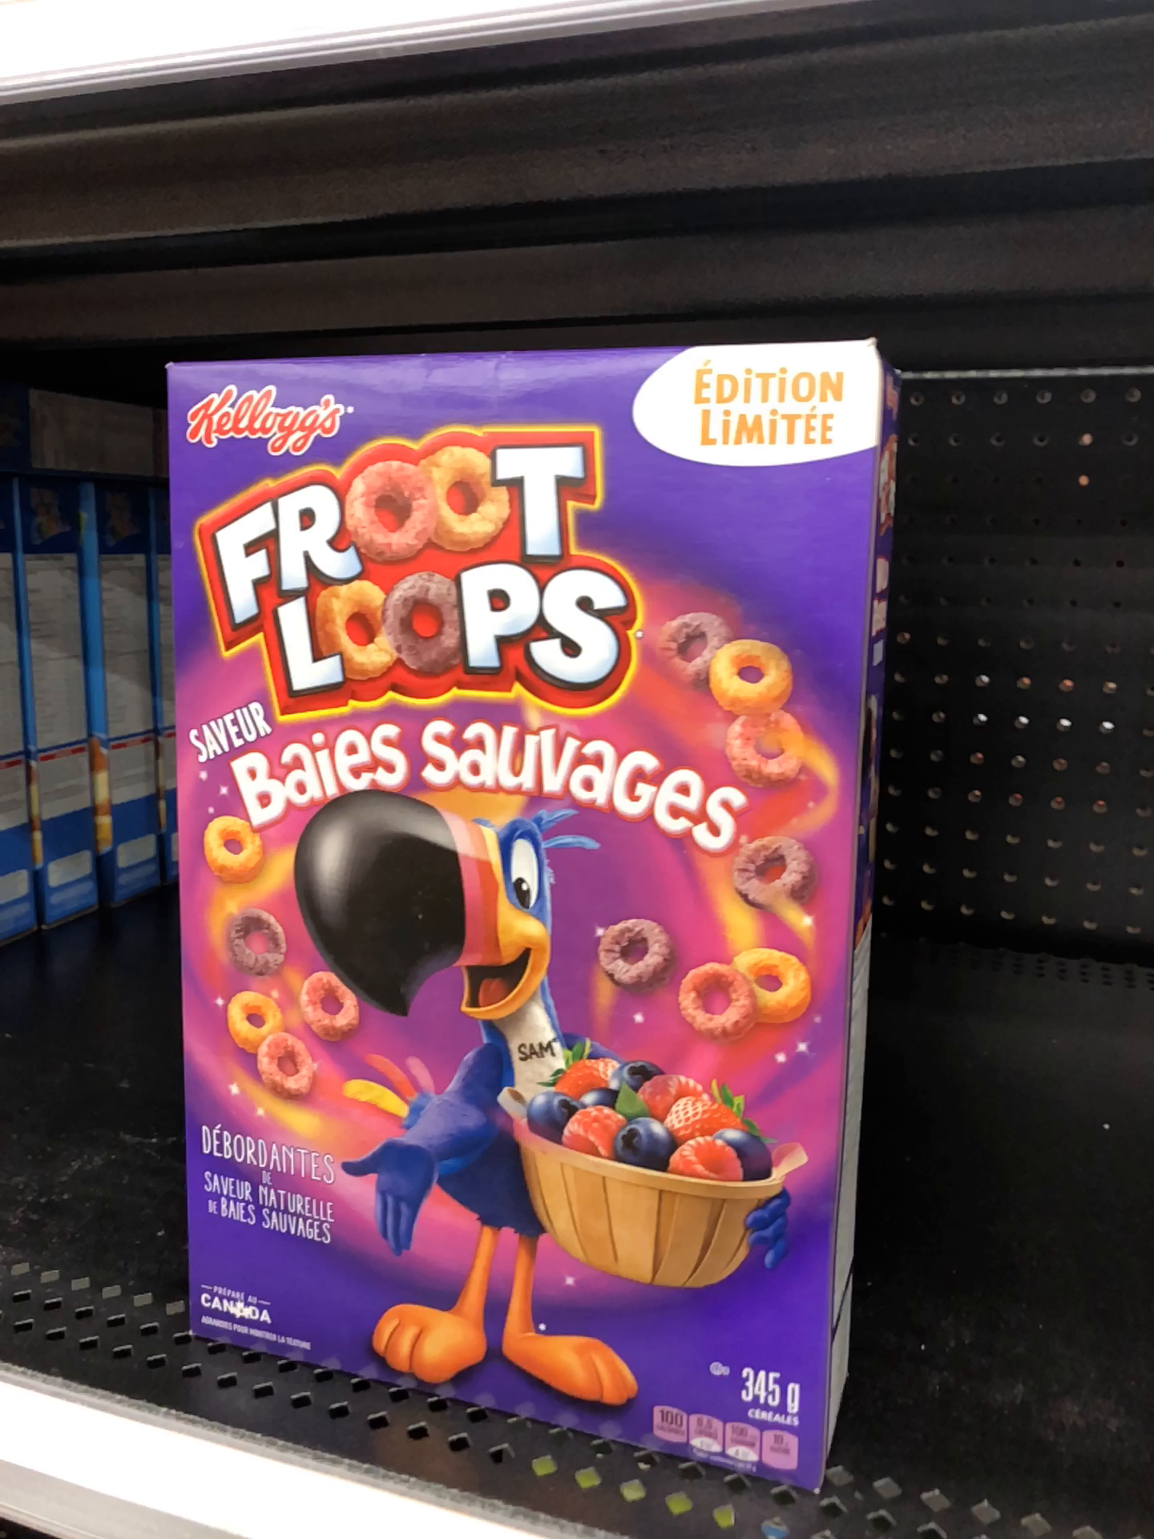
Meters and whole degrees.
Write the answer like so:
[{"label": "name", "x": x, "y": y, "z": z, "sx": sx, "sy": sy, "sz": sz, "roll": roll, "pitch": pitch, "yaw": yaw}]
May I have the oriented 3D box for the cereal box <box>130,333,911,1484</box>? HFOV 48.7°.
[{"label": "cereal box", "x": -0.021, "y": 0.032, "z": 0.370, "sx": 0.210, "sy": 0.289, "sz": 0.050, "roll": 4, "pitch": 10, "yaw": 20}]
